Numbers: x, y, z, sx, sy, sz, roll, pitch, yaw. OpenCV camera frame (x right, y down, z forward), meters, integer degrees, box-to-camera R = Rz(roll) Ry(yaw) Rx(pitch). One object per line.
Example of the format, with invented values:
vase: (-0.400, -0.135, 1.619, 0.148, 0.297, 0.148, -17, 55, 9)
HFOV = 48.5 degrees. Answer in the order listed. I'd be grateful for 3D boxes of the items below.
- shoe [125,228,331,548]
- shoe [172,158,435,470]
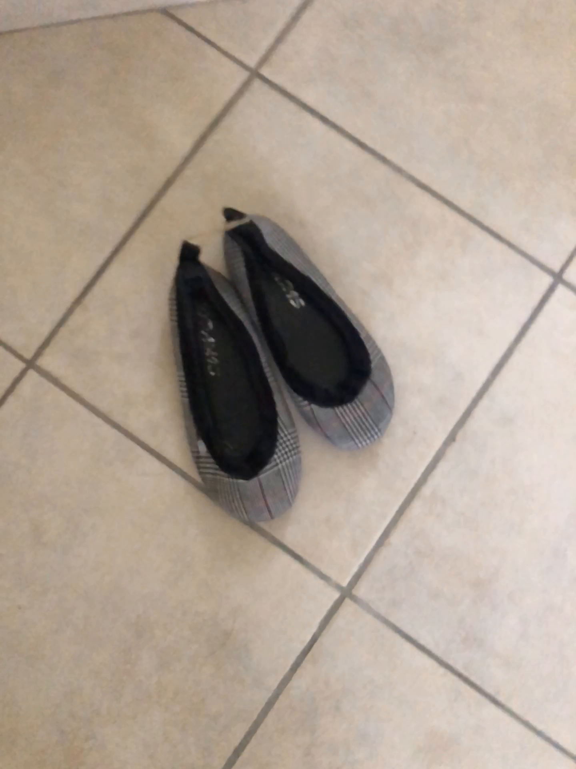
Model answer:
shoe: (-0.044, 0.003, 0.485, 0.090, 0.070, 0.210, -16, 84, -3)
shoe: (0.009, -0.049, 0.490, 0.090, 0.070, 0.210, -31, 85, -4)
